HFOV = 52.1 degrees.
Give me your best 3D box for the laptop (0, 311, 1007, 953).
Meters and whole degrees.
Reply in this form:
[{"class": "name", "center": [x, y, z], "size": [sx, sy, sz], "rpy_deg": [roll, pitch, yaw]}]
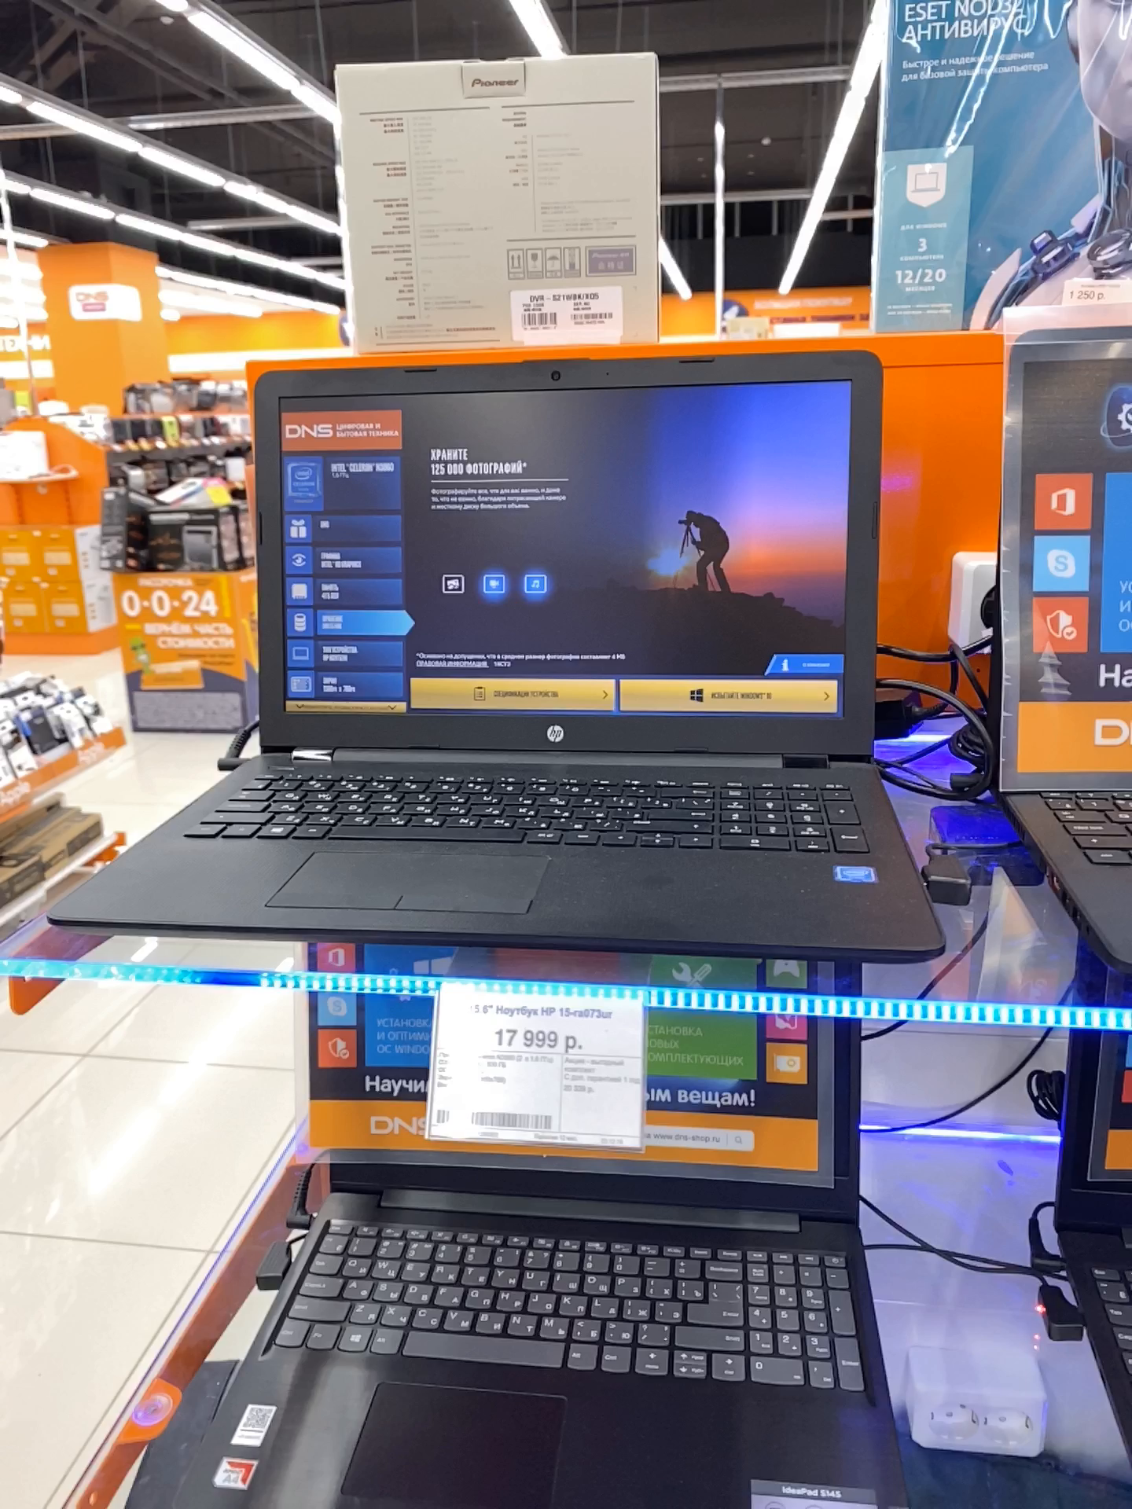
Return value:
[{"class": "laptop", "center": [-0.021, -0.085, 0.607], "size": [0.388, 0.235, 0.323], "rpy_deg": [1, 16, 8]}]
